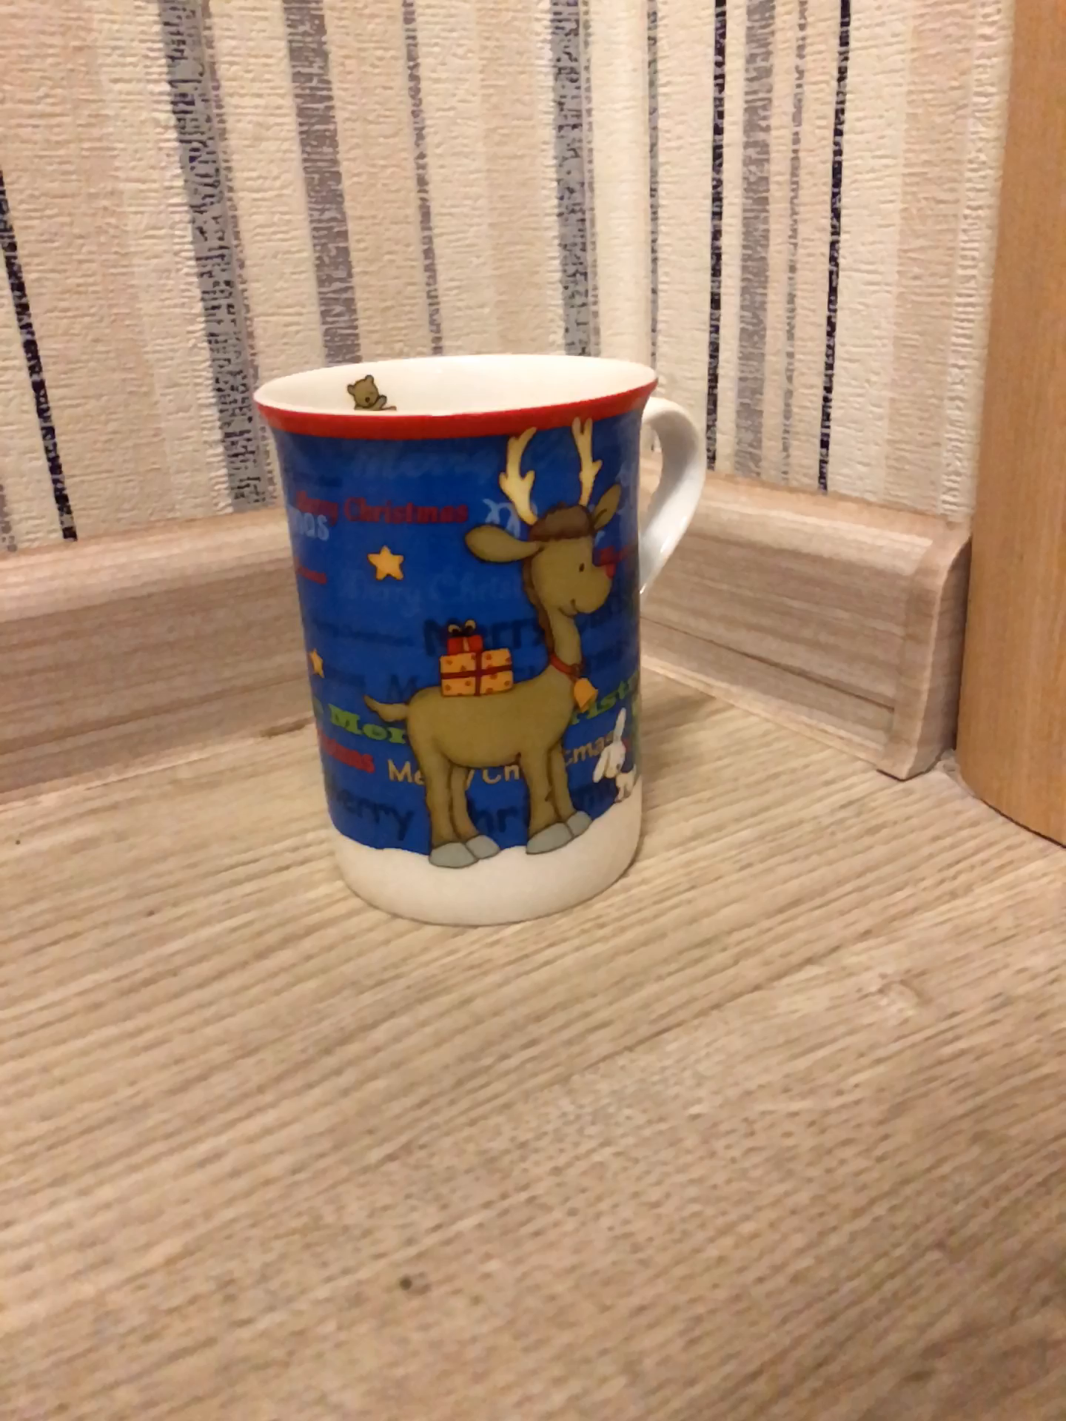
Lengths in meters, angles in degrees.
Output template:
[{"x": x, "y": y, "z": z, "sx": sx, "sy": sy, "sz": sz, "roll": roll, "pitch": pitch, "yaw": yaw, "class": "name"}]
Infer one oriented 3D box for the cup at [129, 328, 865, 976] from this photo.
[{"x": -0.002, "y": -0.026, "z": 0.255, "sx": 0.121, "sy": 0.094, "sz": 0.087, "roll": -22, "pitch": 29, "yaw": -38, "class": "cup"}]
